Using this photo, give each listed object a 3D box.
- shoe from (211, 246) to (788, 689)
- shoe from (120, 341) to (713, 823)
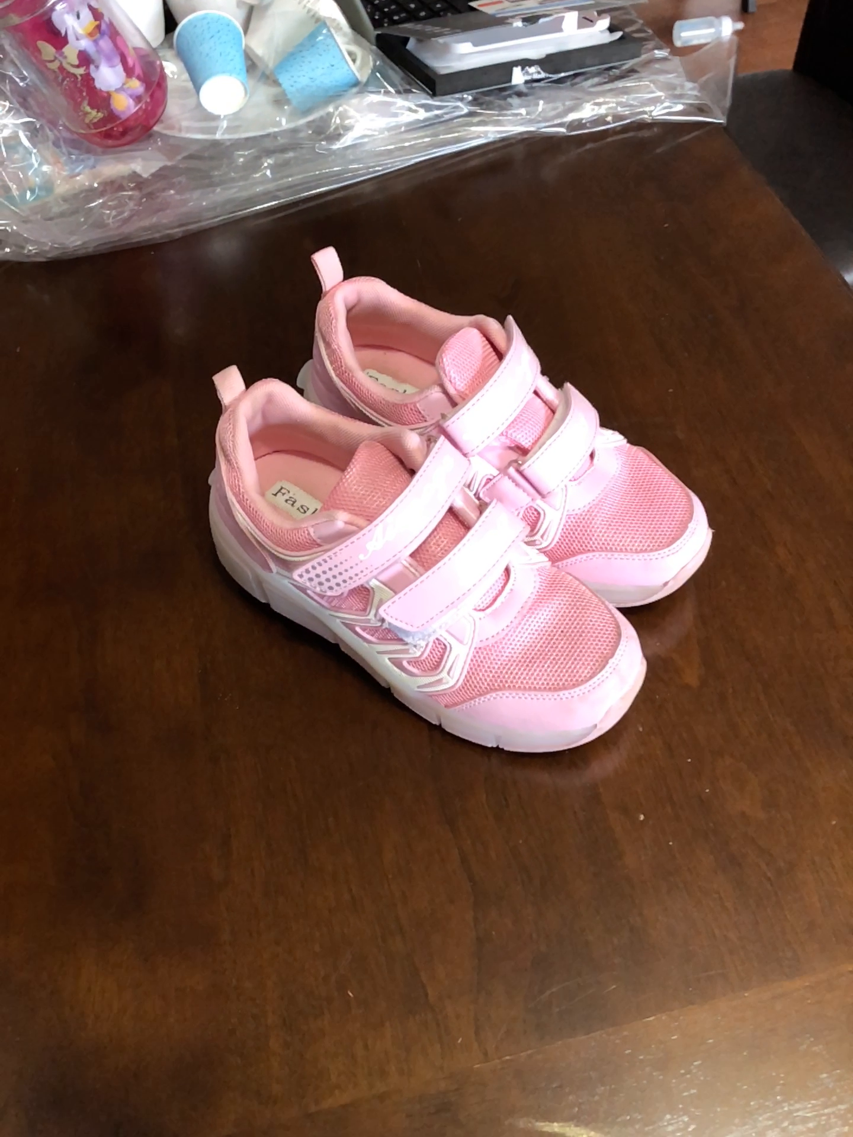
[{"bbox_3d":[0.034,-0.061,0.506,0.260,0.110,0.110,25,62,22],"label":"shoe"},{"bbox_3d":[-0.007,0.000,0.462,0.250,0.110,0.100,26,62,23],"label":"shoe"}]
